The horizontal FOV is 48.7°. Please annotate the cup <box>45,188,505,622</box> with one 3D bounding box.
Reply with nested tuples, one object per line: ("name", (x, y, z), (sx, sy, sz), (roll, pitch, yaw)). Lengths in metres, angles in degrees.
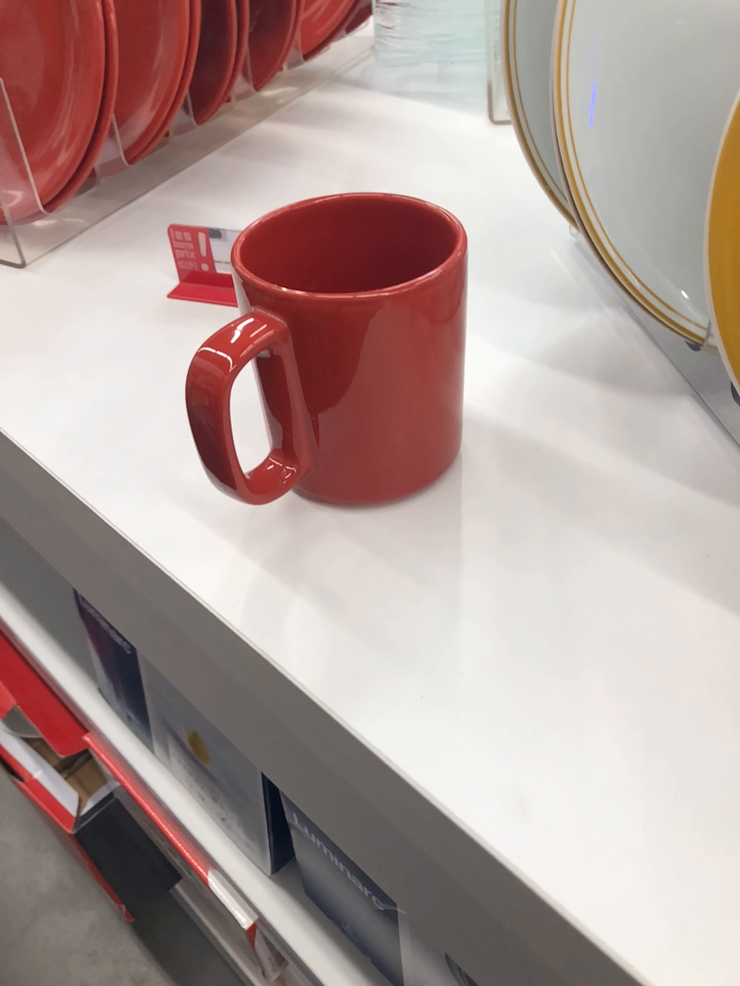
("cup", (-0.025, -0.041, 0.301), (0.091, 0.082, 0.130), (24, 49, 29))
